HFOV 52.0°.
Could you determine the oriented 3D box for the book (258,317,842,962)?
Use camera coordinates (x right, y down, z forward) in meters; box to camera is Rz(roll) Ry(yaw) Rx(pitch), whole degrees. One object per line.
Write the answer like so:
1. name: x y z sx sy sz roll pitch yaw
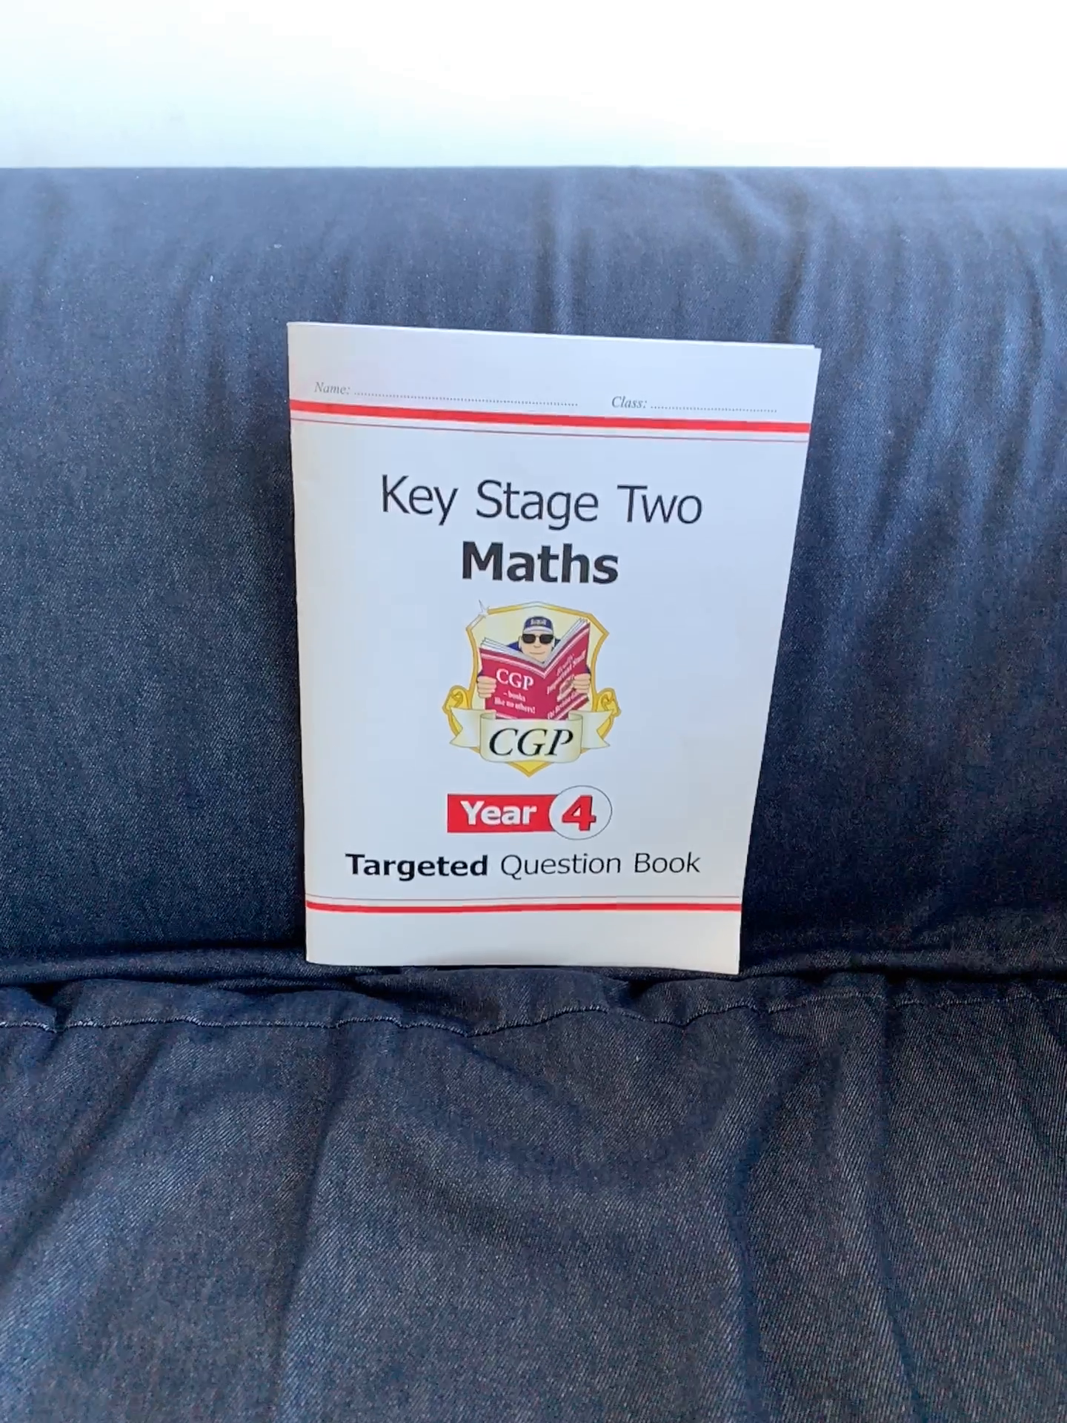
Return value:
1. book: 0.005 -0.023 0.463 0.220 0.266 0.030 1 16 0
